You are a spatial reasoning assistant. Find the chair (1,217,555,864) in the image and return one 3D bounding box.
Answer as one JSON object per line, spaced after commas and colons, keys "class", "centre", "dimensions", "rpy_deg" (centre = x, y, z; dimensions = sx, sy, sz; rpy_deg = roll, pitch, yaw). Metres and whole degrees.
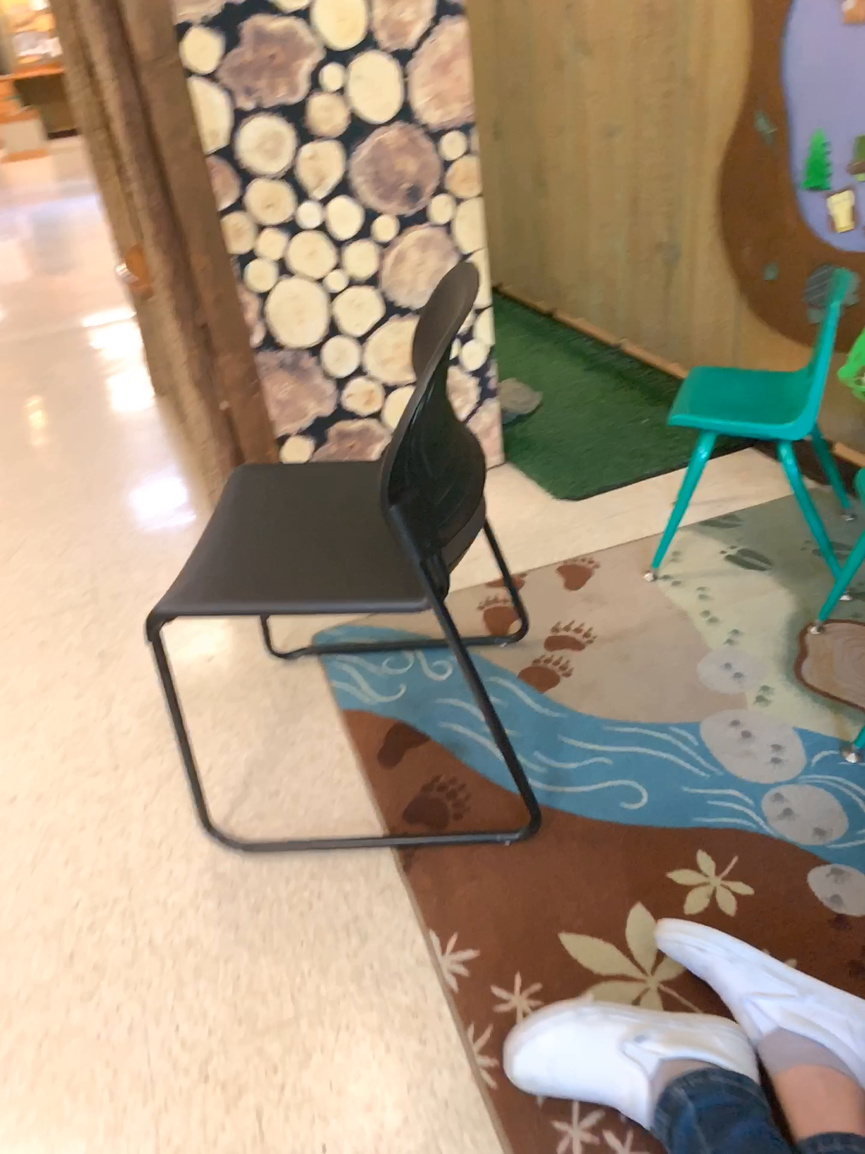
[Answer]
{"class": "chair", "centre": [-0.126, -0.061, 1.385], "dimensions": [0.570, 0.785, 0.593], "rpy_deg": [-3, 32, 7]}
